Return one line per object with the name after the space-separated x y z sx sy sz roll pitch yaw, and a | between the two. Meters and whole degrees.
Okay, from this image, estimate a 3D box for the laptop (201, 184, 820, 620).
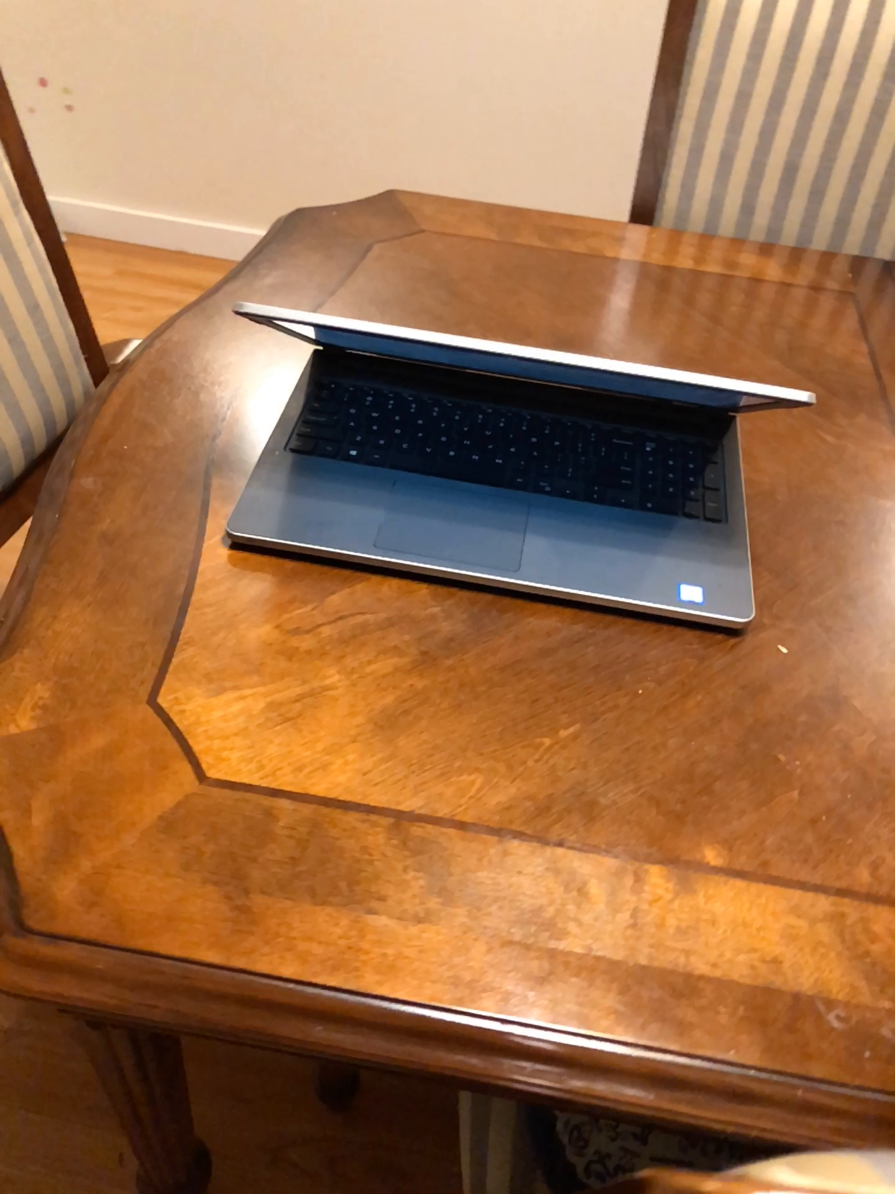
0.047 -0.151 0.707 0.363 0.147 0.246 10 45 4 | laptop
